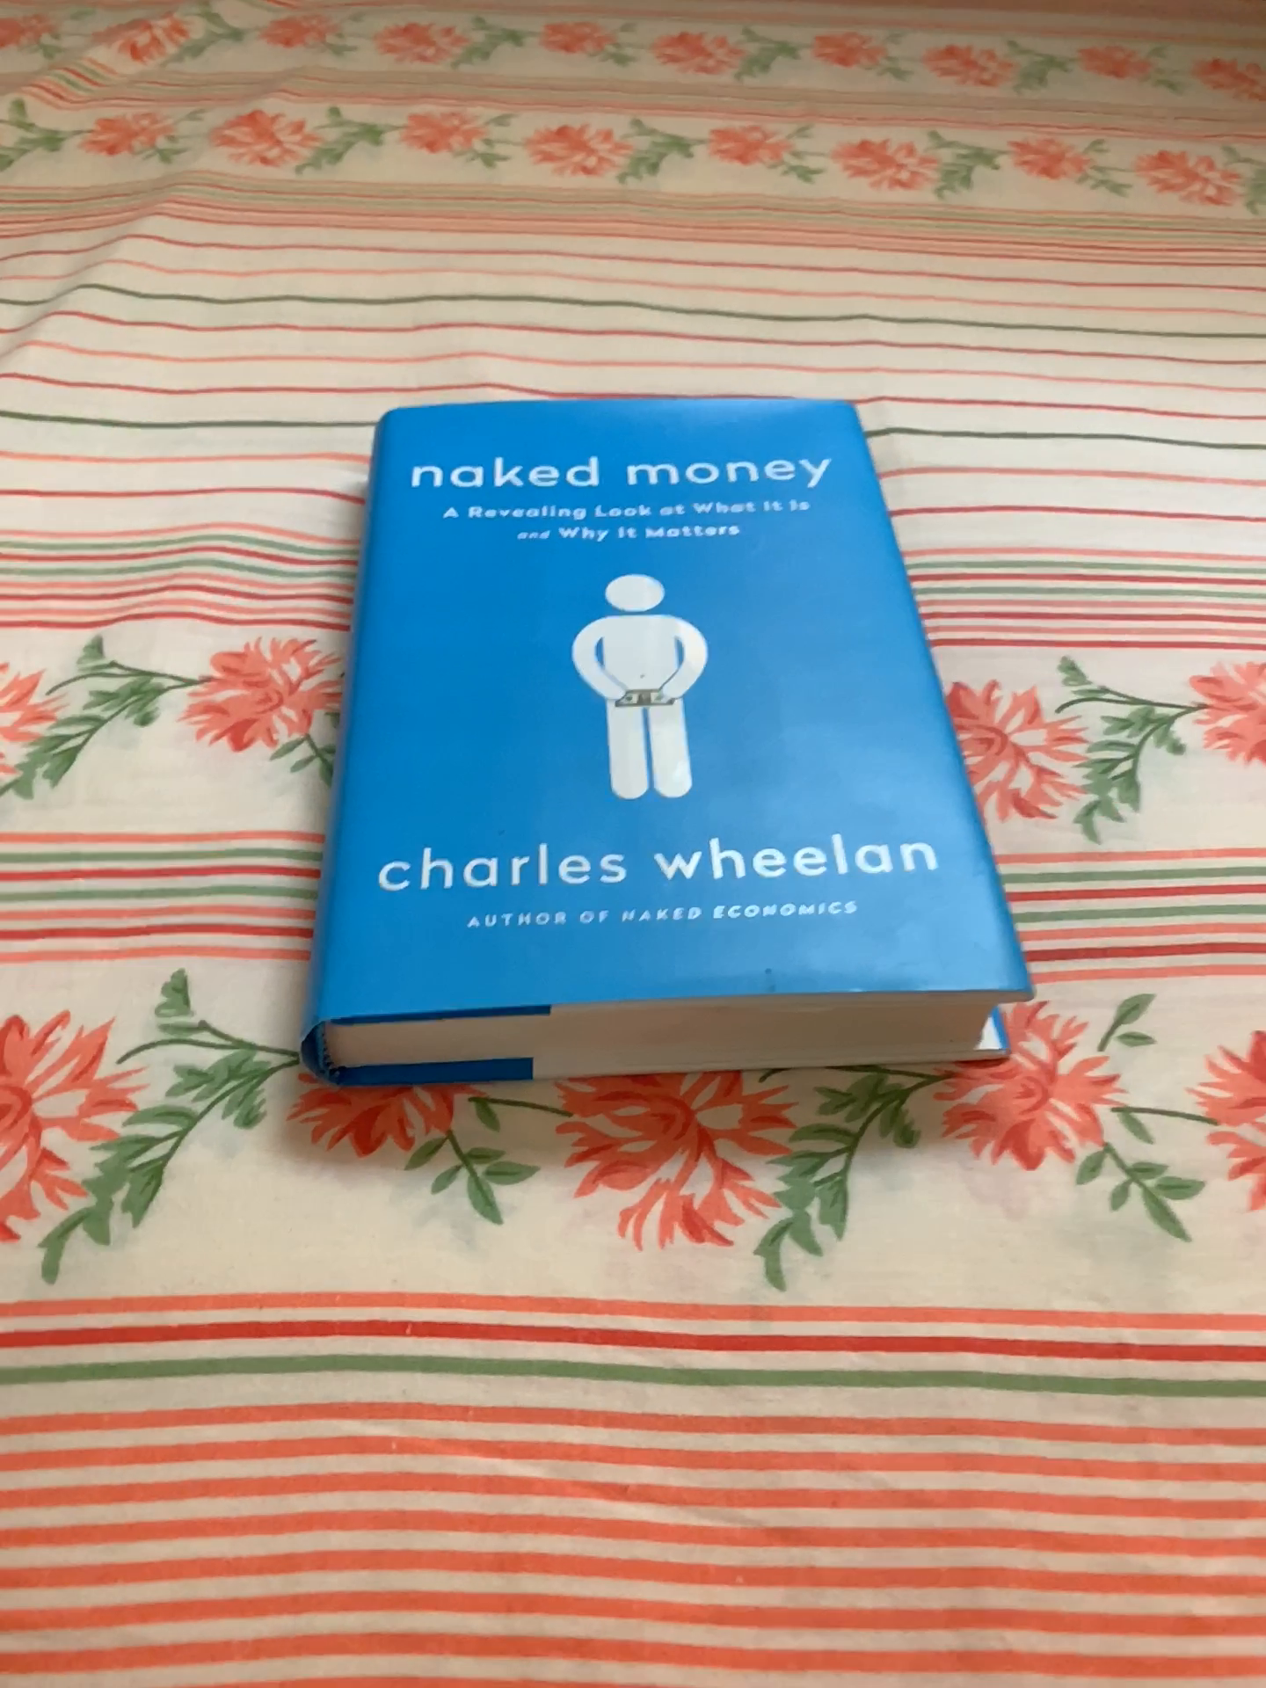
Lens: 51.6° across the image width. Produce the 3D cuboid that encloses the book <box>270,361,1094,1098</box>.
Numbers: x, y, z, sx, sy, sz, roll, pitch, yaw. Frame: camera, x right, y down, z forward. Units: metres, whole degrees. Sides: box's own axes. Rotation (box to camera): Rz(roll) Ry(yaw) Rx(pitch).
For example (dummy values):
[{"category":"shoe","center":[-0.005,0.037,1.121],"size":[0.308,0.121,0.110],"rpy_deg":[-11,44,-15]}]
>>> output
[{"category":"book","center":[0.003,-0.053,0.367],"size":[0.170,0.040,0.252],"rpy_deg":[-1,48,-4]}]
